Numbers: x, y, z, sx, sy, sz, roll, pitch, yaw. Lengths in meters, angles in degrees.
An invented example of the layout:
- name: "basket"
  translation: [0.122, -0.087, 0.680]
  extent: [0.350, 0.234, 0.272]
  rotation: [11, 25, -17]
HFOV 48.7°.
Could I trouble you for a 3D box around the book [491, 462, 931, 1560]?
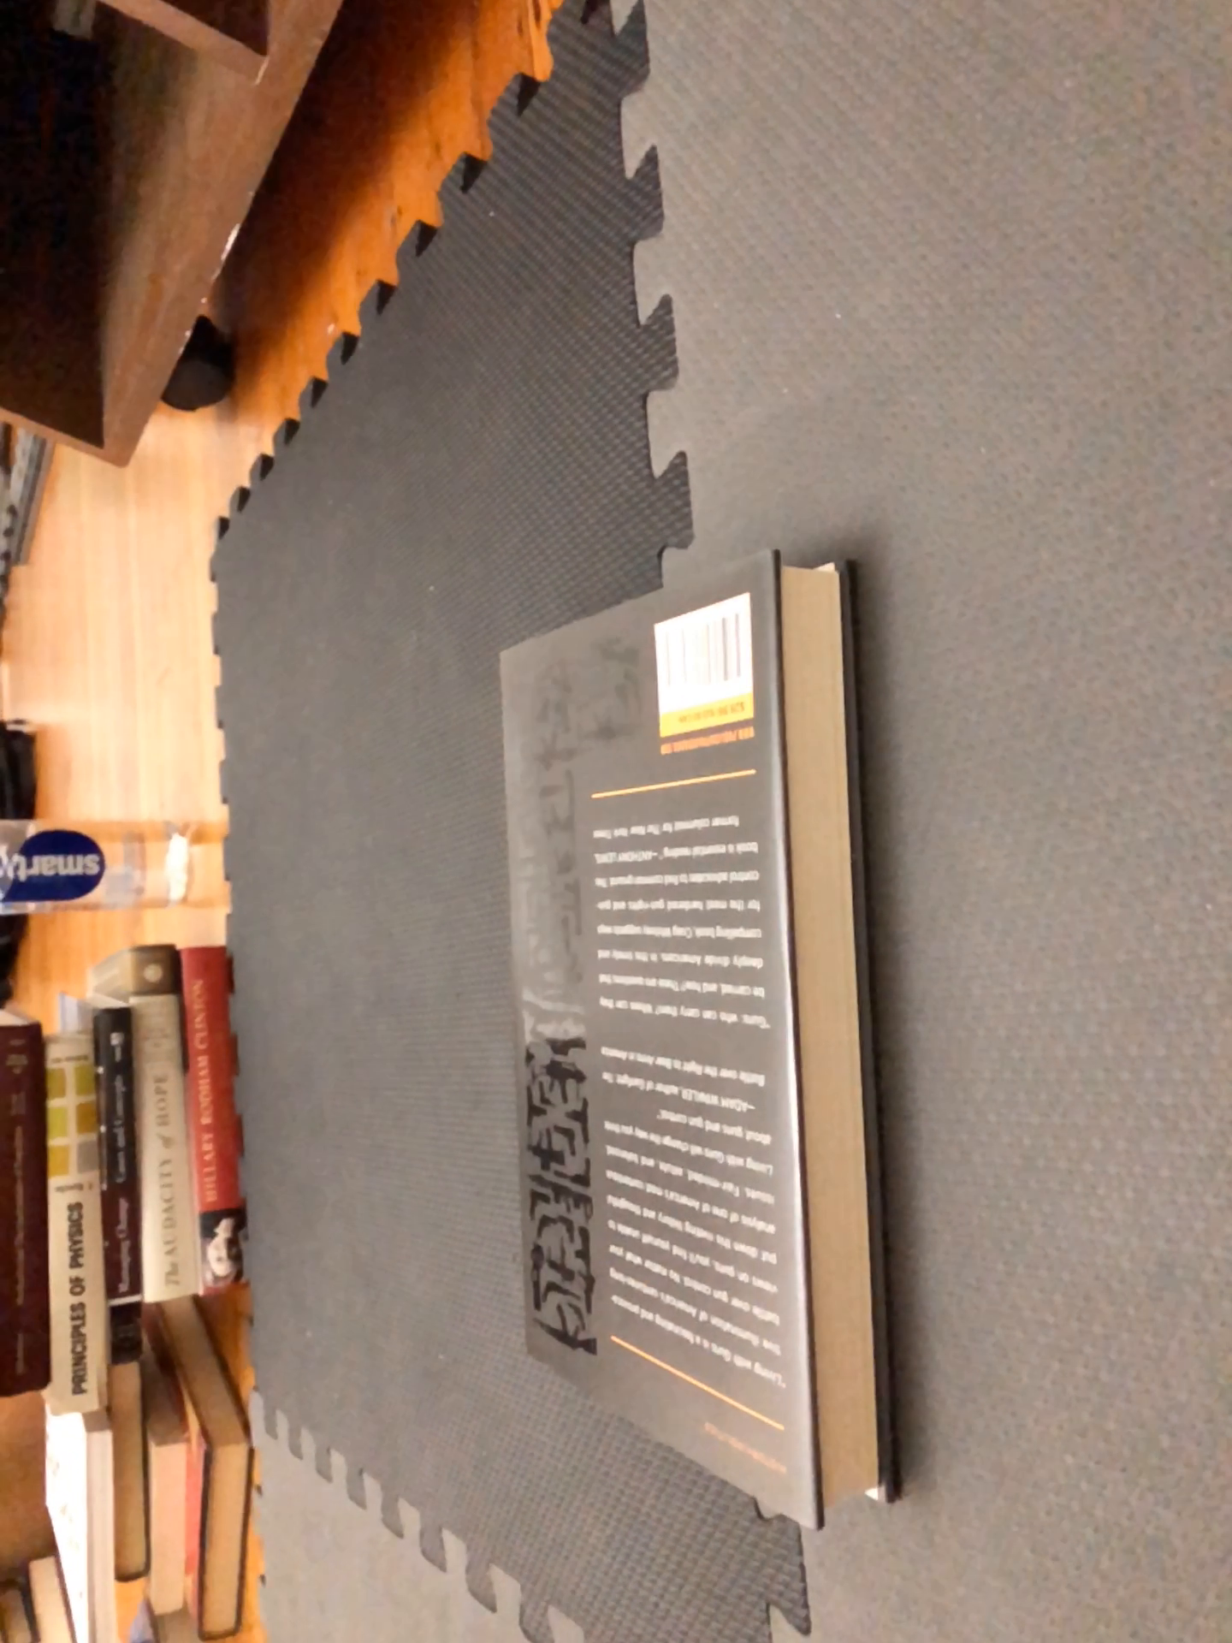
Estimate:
- name: "book"
  translation: [0.017, 0.046, 0.407]
  extent: [0.171, 0.040, 0.260]
  rotation: [-4, 87, 61]
